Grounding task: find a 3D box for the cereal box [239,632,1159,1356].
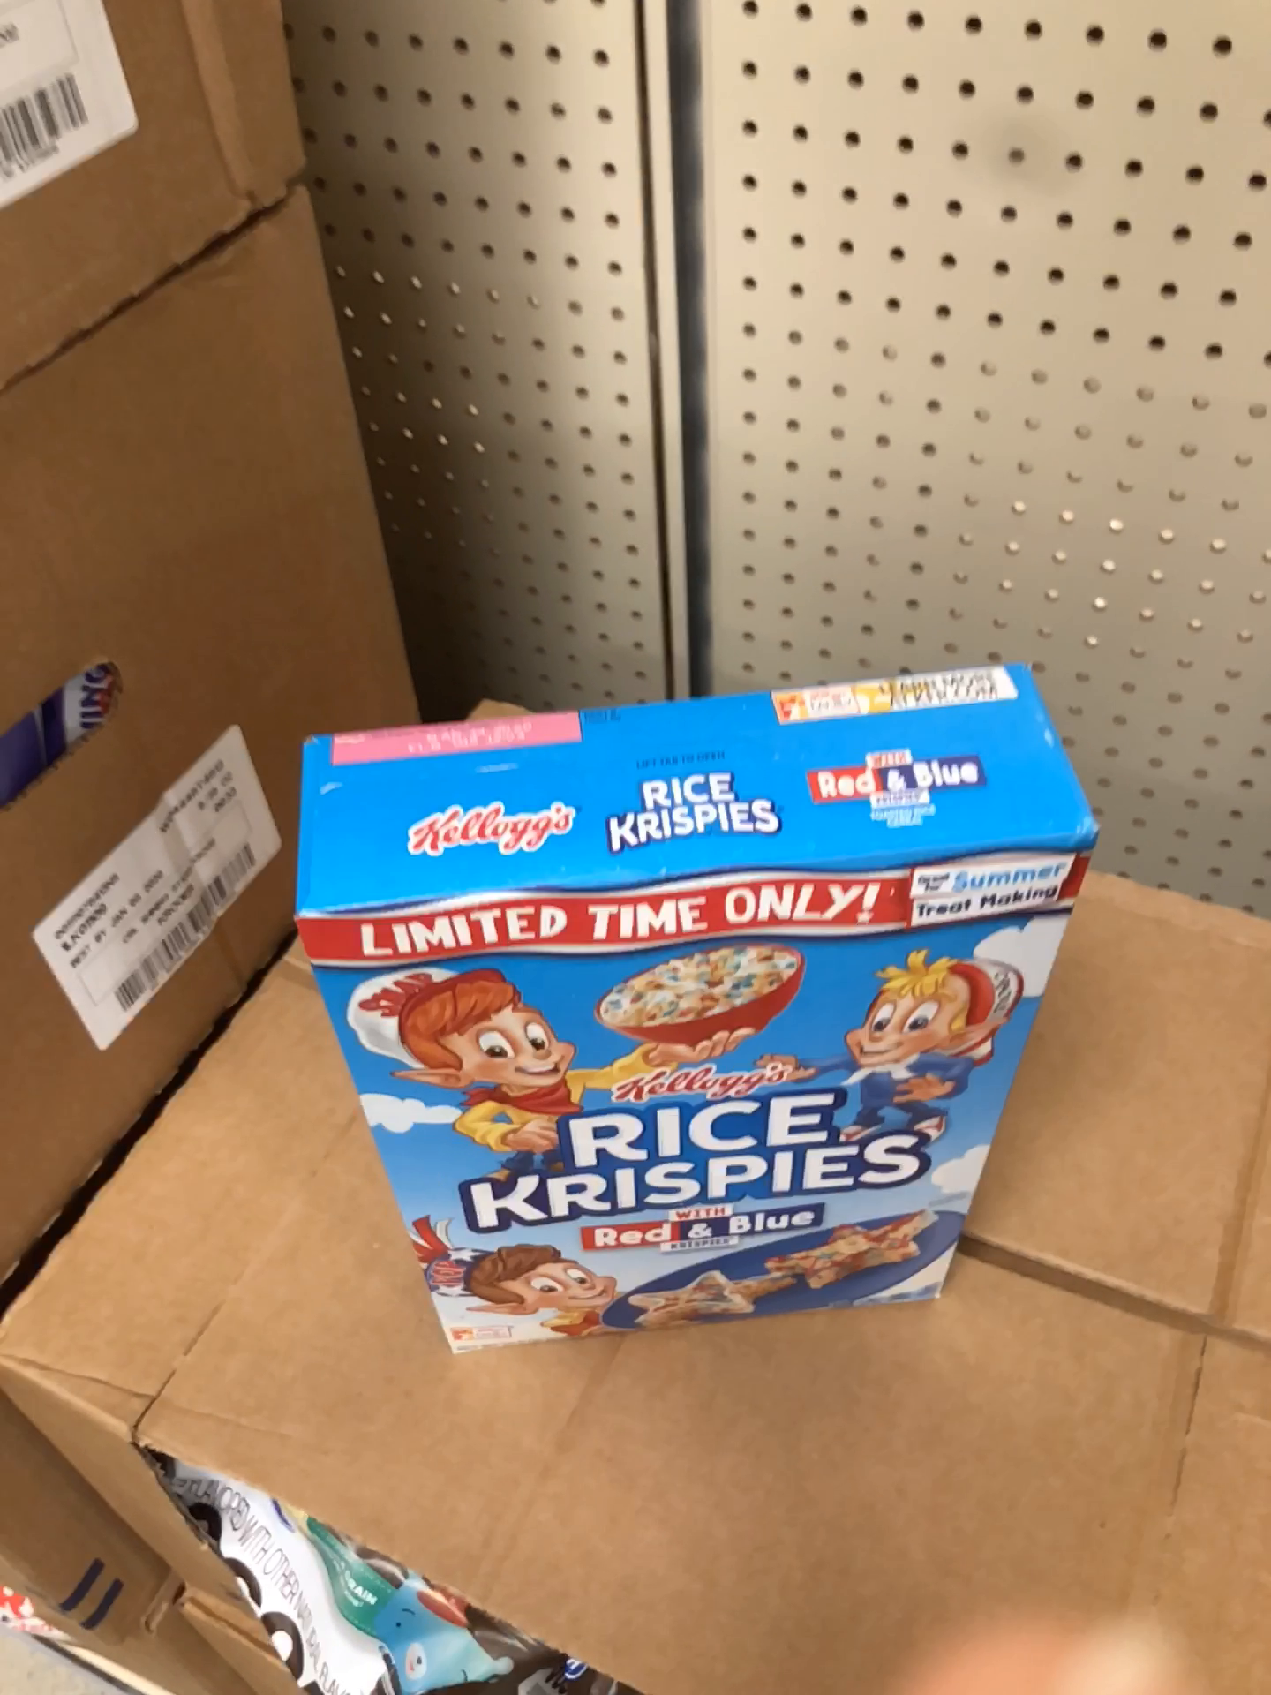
[{"bbox_3d":[0.018,0.068,0.434,0.200,0.279,0.060,-6,52,-1],"label":"cereal box"}]
